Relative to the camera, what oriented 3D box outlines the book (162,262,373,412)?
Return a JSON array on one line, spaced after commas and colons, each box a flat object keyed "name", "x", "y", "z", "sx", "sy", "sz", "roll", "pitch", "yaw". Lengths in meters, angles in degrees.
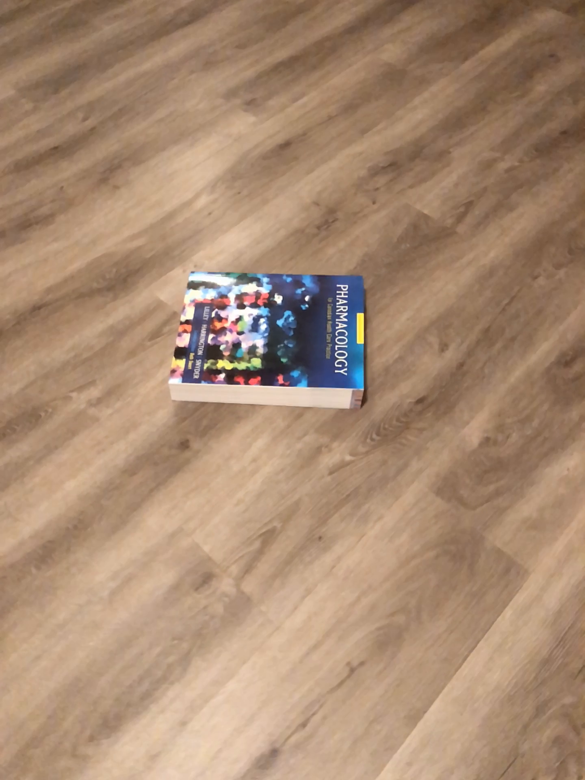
[{"name": "book", "x": -0.027, "y": -0.082, "z": 0.932, "sx": 0.277, "sy": 0.046, "sz": 0.229, "roll": 2, "pitch": 56, "yaw": 3}]
